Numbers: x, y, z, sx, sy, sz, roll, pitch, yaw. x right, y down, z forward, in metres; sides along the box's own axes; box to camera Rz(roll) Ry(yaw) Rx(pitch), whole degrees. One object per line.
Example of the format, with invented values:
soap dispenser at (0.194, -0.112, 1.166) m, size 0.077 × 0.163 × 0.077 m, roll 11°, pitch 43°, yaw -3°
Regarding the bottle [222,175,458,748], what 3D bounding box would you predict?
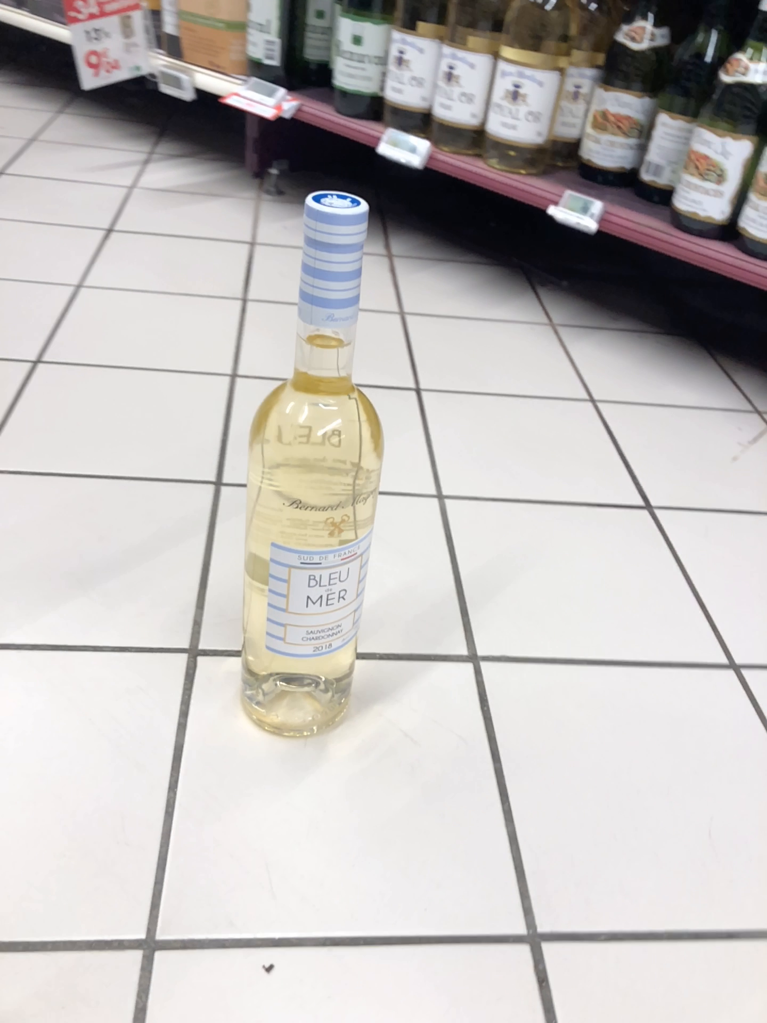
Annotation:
bottle at (-0.038, -0.011, 0.459) m, size 0.080 × 0.308 × 0.080 m, roll 5°, pitch 36°, yaw -4°
